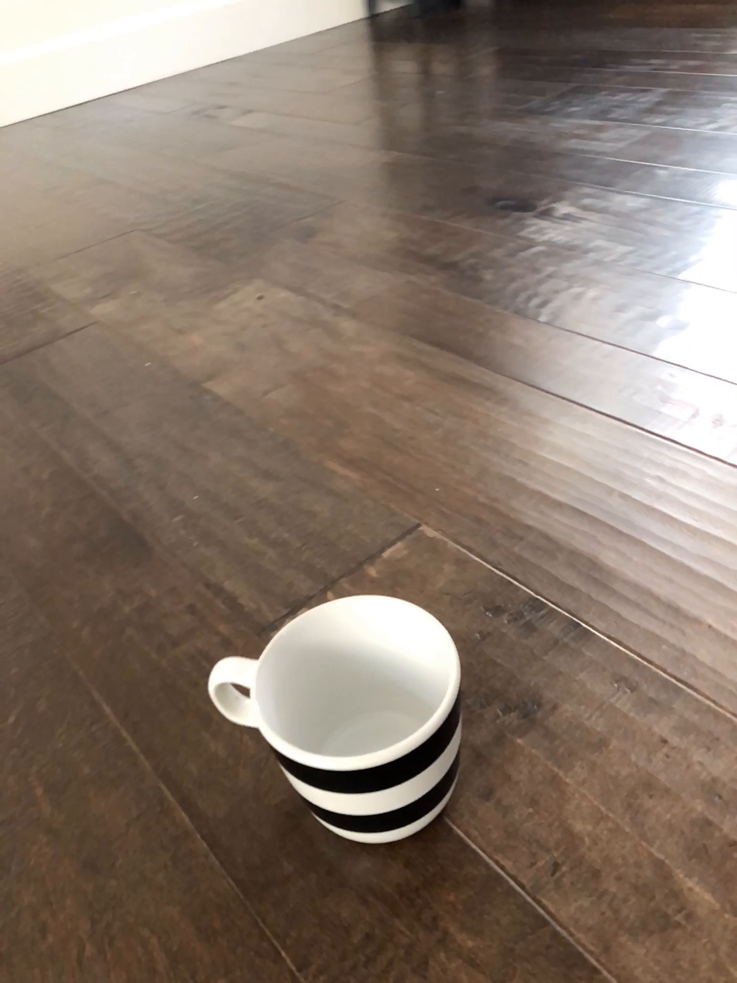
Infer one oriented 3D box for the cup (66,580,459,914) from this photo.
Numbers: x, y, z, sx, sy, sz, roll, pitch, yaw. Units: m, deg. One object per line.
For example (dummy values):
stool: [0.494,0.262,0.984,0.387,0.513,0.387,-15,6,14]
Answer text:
cup: [-0.032,0.097,0.326,0.120,0.079,0.091,-1,37,14]
